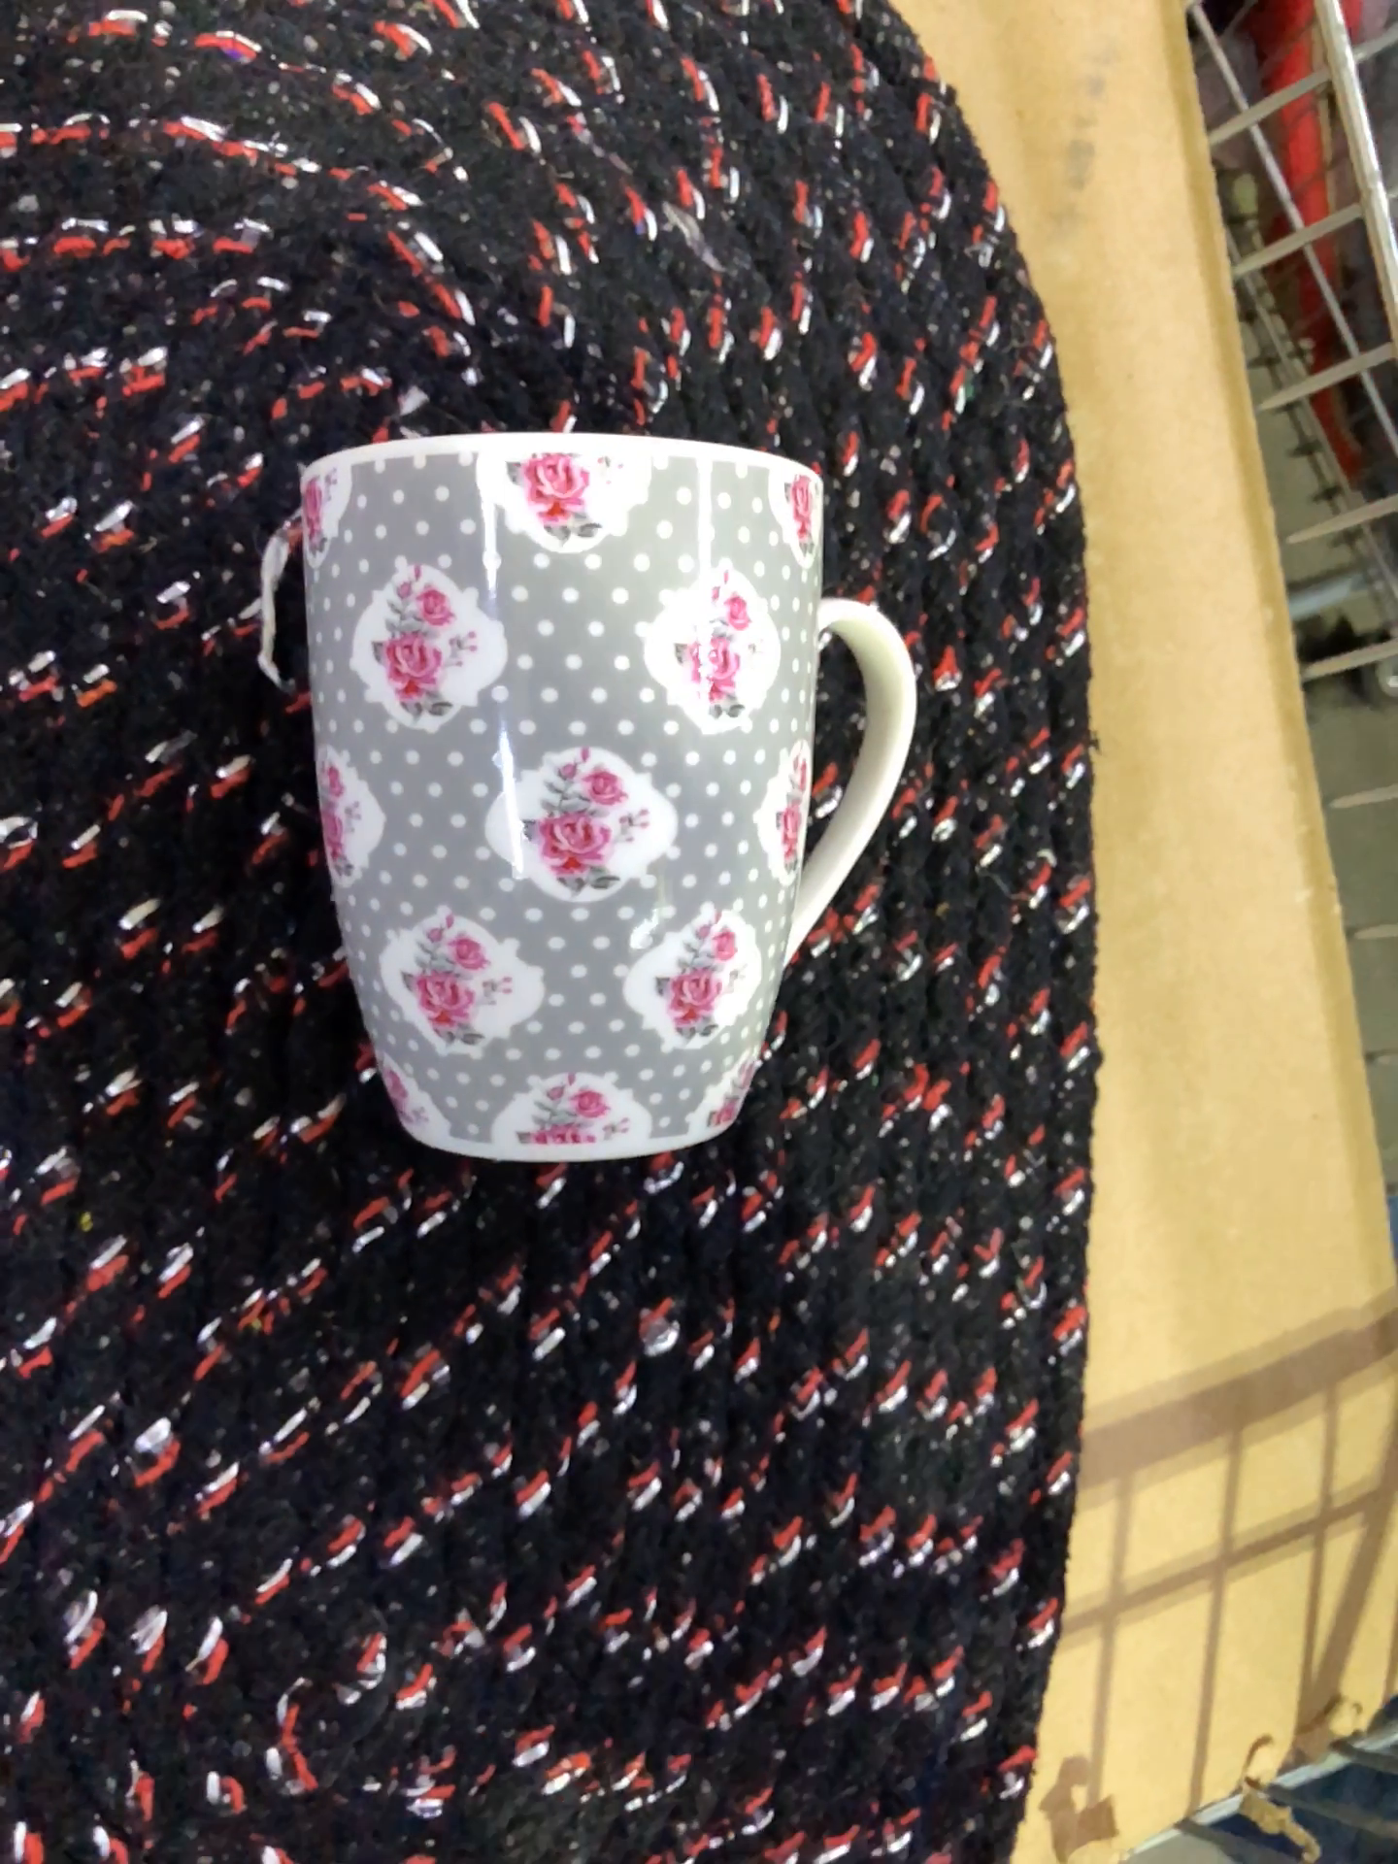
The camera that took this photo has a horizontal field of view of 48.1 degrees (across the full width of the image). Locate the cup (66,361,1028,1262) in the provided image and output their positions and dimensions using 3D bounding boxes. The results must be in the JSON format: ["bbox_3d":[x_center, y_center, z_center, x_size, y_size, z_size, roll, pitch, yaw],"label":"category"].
[{"bbox_3d":[-0.019,-0.023,0.243,0.110,0.090,0.100,-12,103,-43],"label":"cup"}]
